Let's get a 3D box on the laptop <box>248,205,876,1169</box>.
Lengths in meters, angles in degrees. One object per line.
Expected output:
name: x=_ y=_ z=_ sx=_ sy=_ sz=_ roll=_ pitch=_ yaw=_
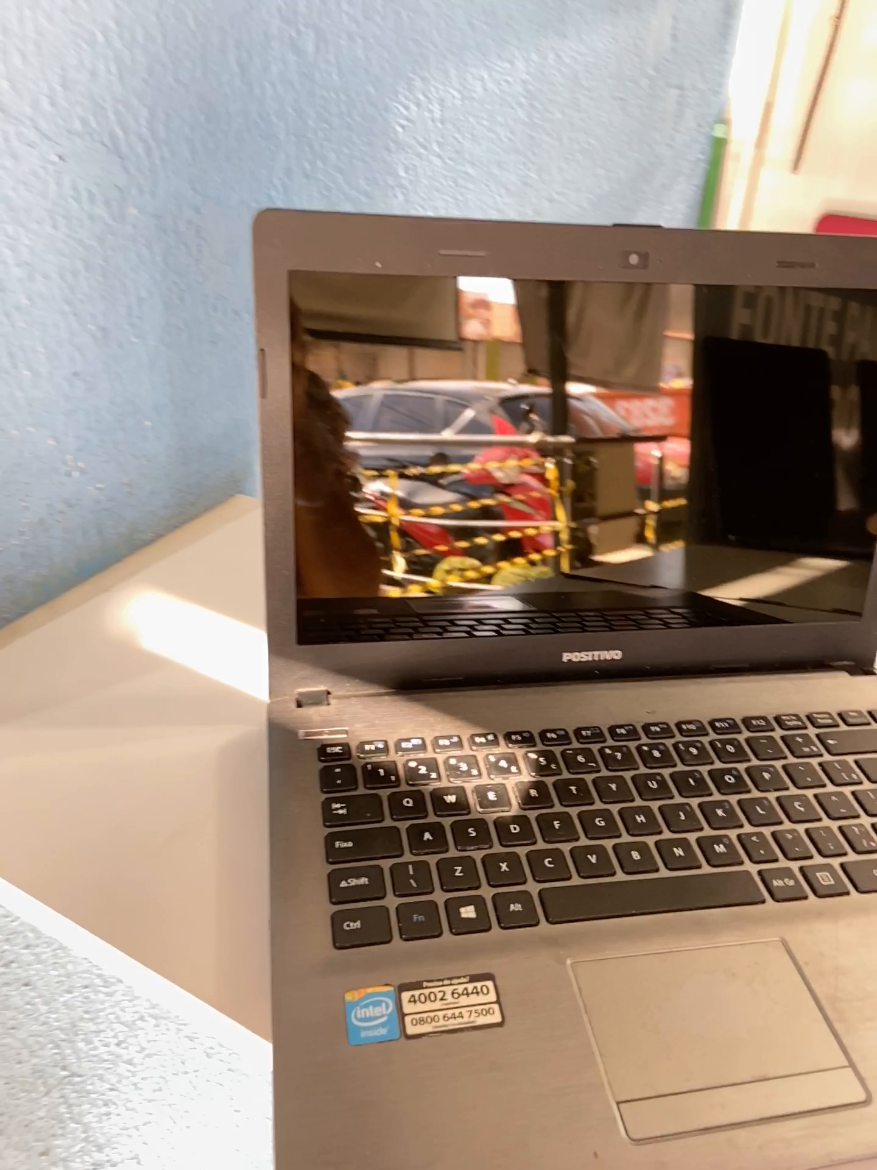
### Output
laptop: x=0.106 y=0.004 z=0.340 sx=0.334 sy=0.211 sz=0.284 roll=-2 pitch=31 yaw=-10
